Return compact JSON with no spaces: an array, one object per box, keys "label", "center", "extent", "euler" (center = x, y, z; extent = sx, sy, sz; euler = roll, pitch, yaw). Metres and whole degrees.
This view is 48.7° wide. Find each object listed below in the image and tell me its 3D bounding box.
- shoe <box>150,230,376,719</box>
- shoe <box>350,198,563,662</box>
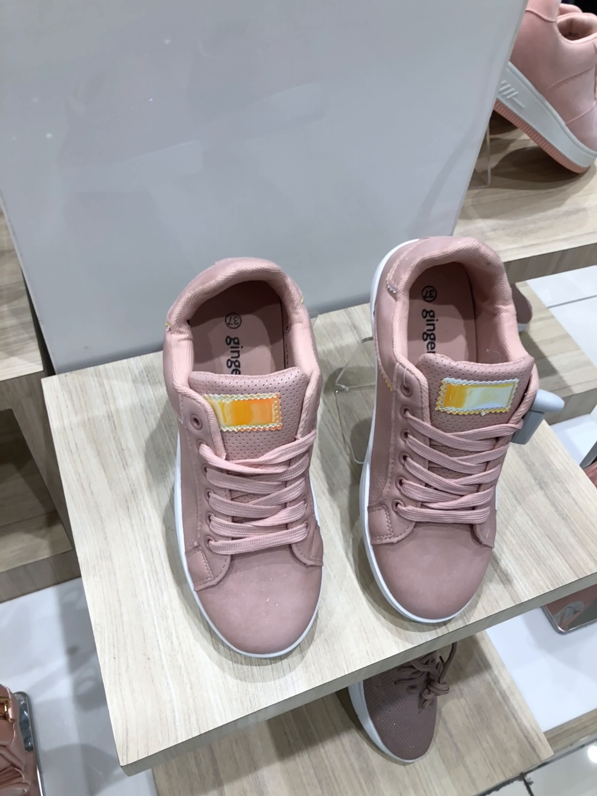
[{"label":"shoe","center":[-0.024,0.038,0.397],"extent":[0.103,0.094,0.252],"euler":[-4,91,-9]},{"label":"shoe","center":[0.096,0.019,0.424],"extent":[0.099,0.094,0.261],"euler":[3,88,-7]}]
